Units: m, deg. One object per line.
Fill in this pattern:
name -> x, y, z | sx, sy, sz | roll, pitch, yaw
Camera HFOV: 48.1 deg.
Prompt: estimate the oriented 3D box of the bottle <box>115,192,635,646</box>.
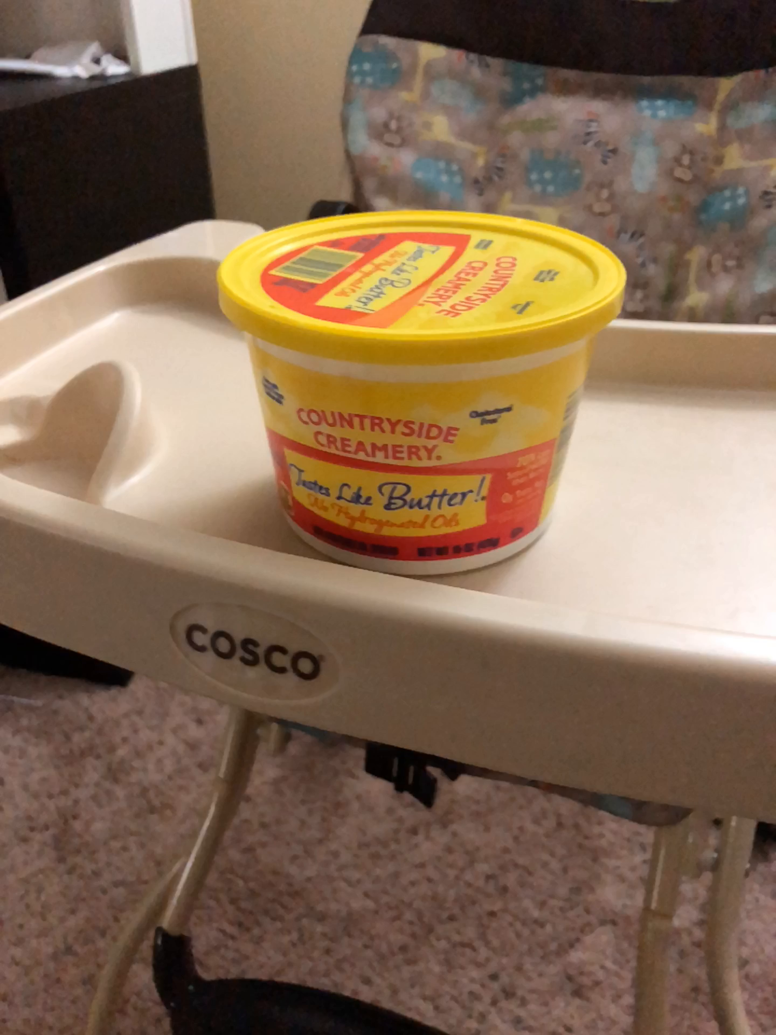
bottle -> 0.003, -0.042, 0.283 | 0.120, 0.090, 0.110 | -1, 33, 0
